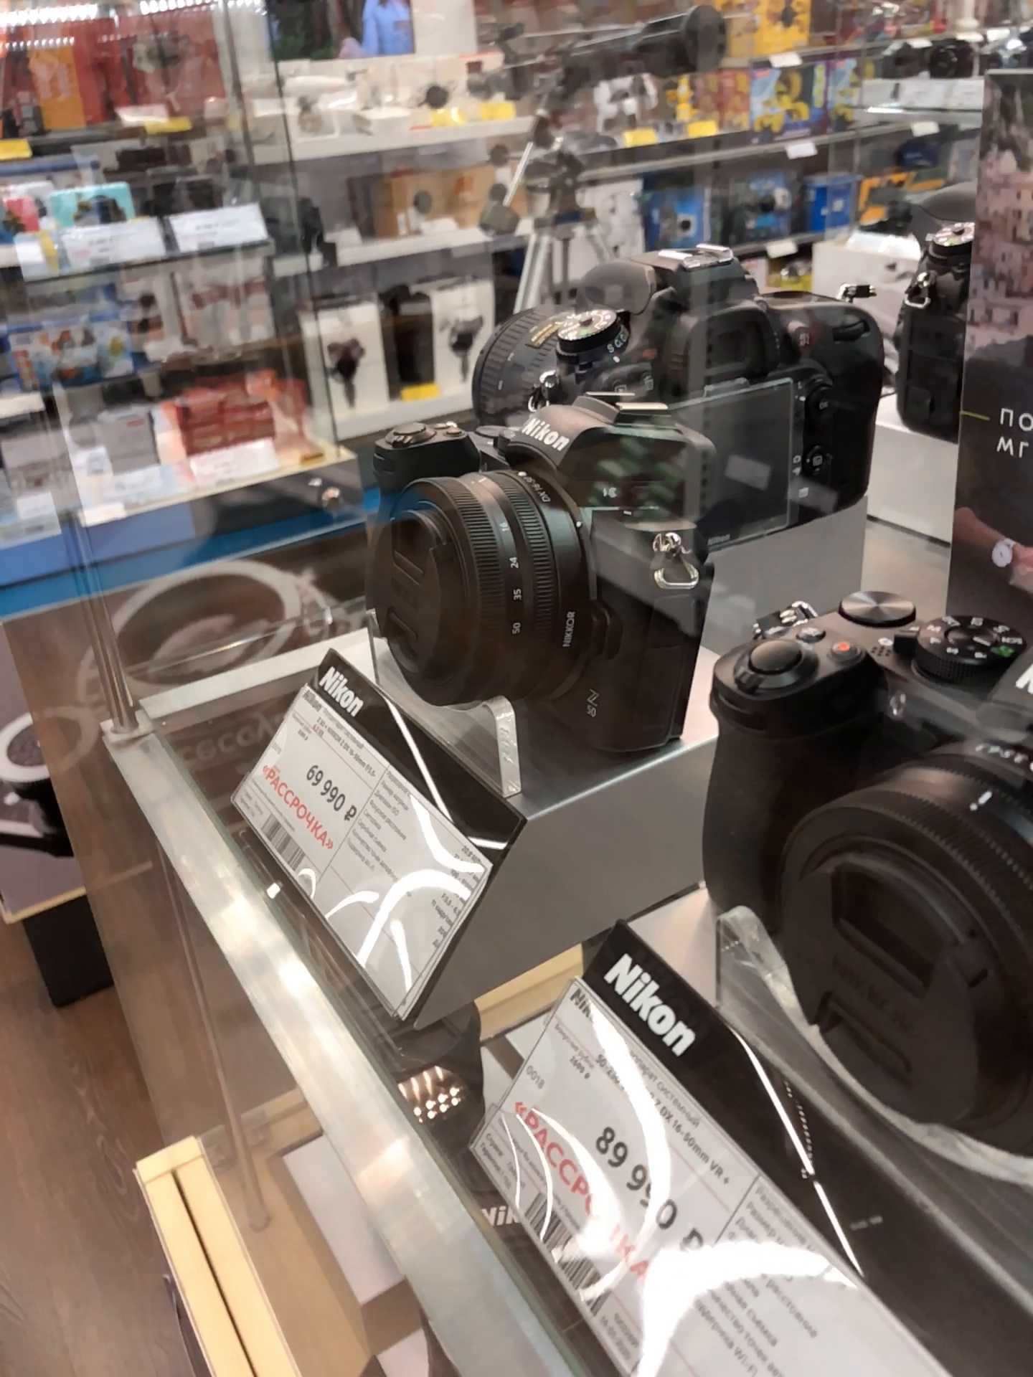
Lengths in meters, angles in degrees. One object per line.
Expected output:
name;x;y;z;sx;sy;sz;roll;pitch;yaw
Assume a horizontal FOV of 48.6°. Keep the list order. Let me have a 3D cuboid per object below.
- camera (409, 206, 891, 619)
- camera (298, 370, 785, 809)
camera;0.049;-0.127;0.486;0.129;0.111;0.150;-18;35;-22
camera;-0.002;-0.041;0.359;0.090;0.092;0.127;-8;28;-30
